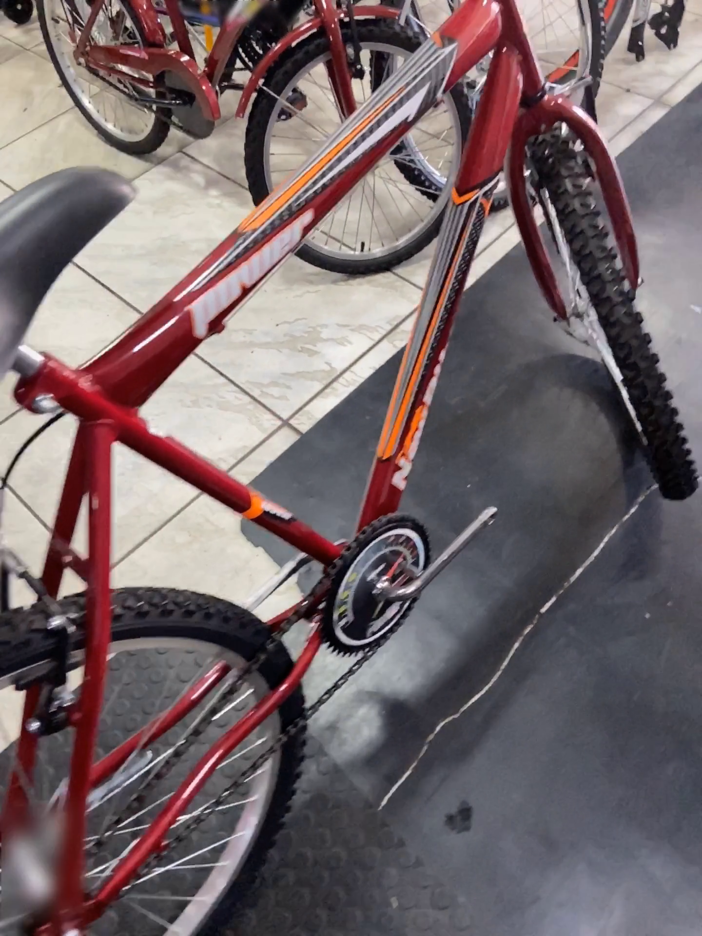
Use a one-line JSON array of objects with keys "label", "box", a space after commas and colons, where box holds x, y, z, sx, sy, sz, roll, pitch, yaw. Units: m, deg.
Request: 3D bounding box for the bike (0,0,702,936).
[{"label": "bike", "box": [-0.150, -0.115, 0.713, 0.566, 1.030, 1.586, 26, 66, 23]}]
